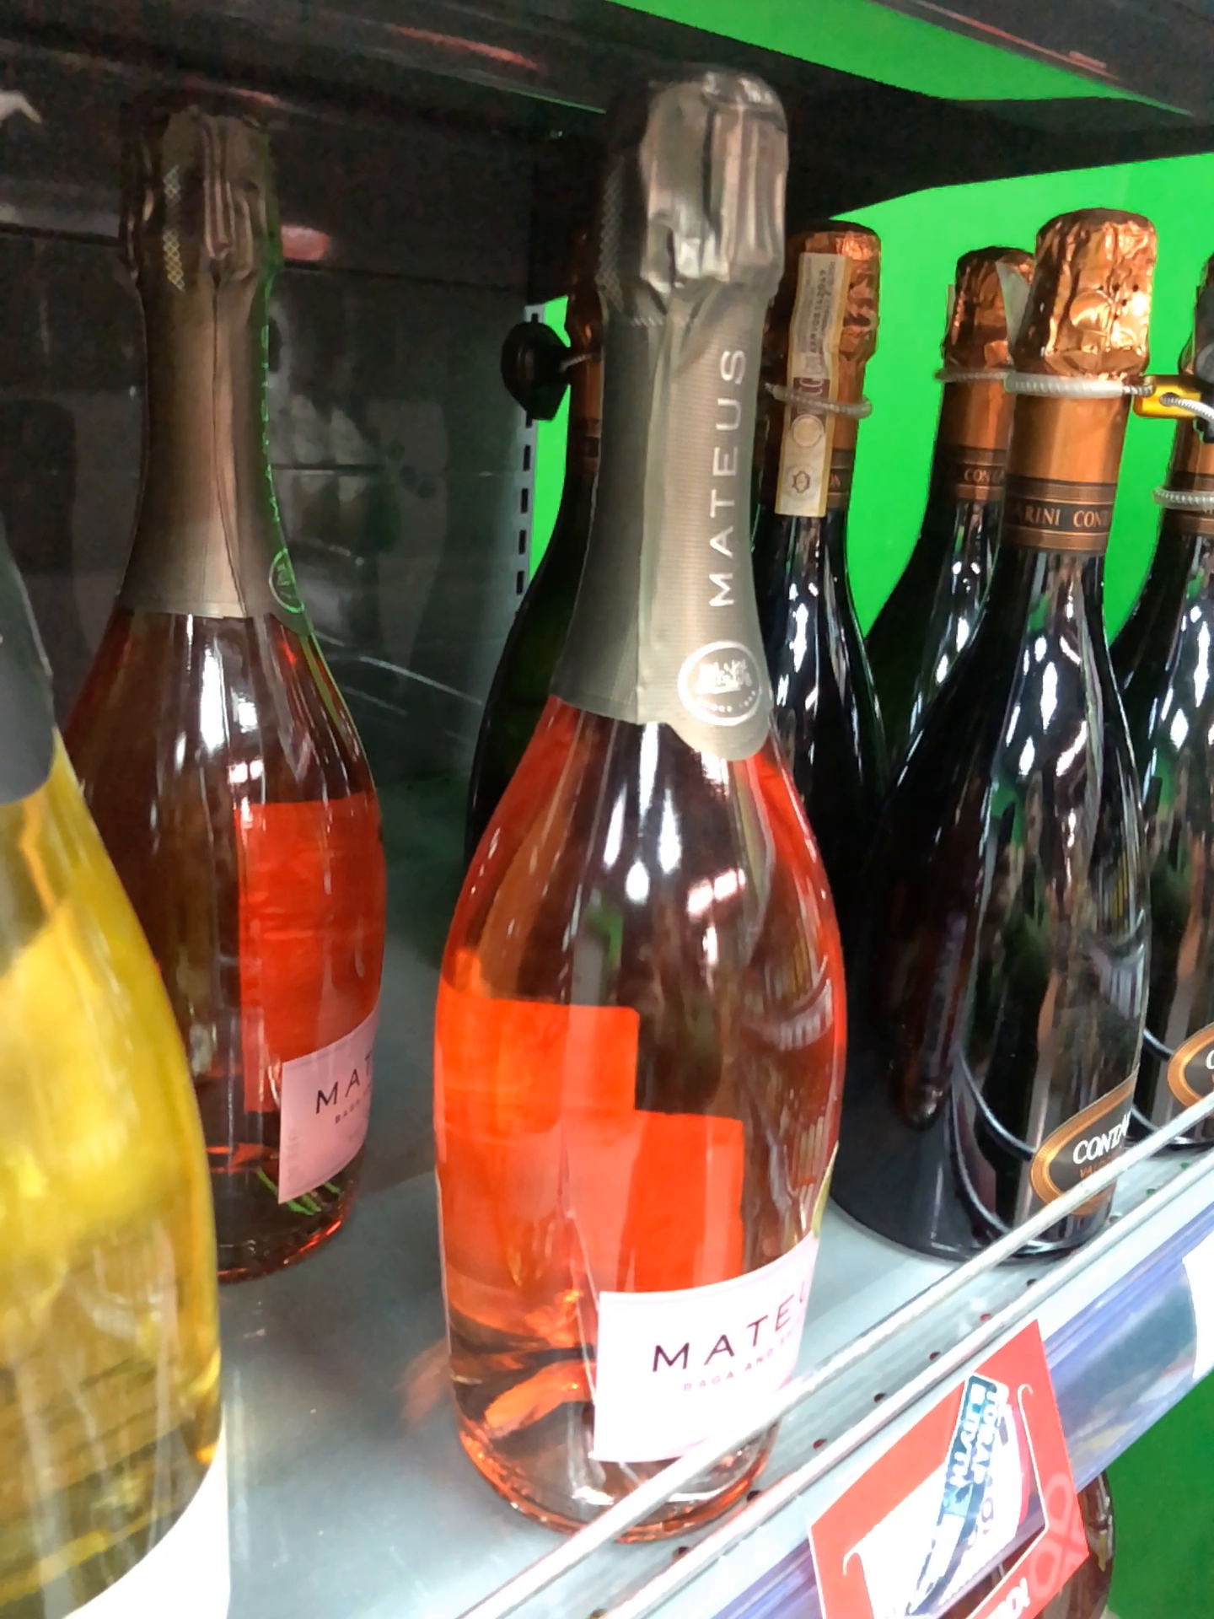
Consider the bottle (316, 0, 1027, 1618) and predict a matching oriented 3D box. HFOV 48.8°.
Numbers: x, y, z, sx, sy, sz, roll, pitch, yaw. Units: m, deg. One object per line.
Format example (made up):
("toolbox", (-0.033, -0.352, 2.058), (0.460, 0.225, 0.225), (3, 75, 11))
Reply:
("bottle", (0.003, 0.010, 0.299), (0.100, 0.319, 0.090), (-12, 23, -42))
